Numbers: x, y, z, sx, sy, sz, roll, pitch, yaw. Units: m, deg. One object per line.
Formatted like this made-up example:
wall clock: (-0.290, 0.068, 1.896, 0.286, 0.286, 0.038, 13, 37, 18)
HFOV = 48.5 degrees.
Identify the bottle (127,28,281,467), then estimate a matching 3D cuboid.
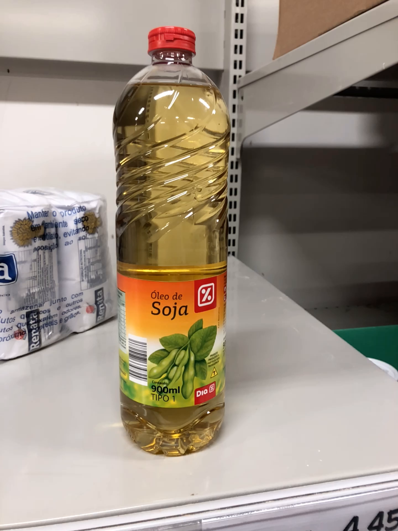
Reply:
bottle: (-0.003, -0.004, 0.294, 0.080, 0.259, 0.070, 2, 12, -4)
